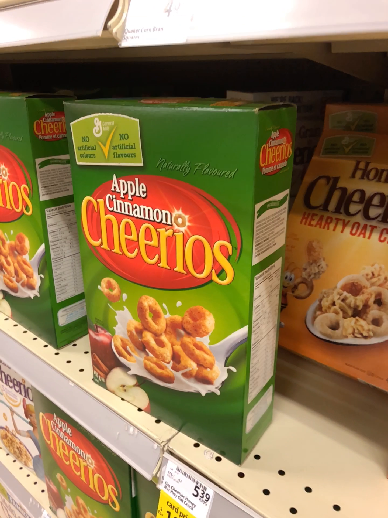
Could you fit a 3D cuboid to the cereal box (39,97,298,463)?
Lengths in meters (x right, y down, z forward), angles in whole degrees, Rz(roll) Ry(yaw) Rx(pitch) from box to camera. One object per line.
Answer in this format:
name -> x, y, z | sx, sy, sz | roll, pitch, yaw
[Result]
cereal box -> -0.029, 0.007, 0.398 | 0.211, 0.288, 0.070 | 15, 27, 33
